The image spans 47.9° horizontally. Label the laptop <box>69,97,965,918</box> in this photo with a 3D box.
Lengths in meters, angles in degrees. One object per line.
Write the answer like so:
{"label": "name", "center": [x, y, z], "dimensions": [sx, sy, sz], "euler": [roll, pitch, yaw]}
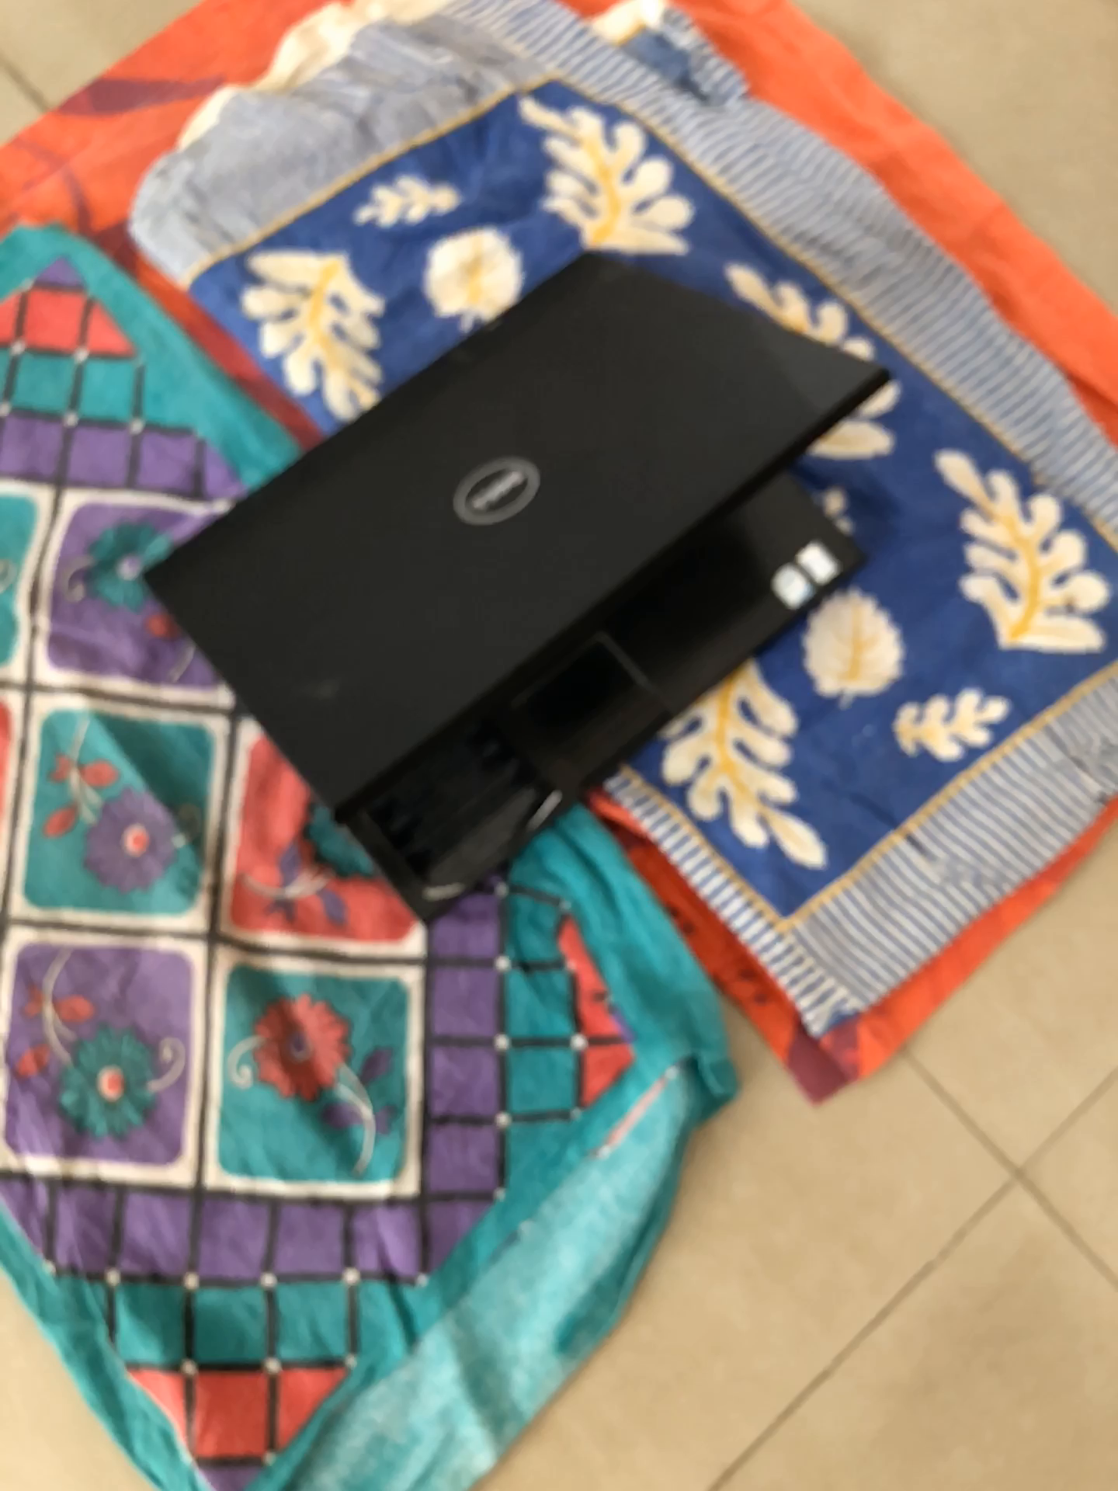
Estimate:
{"label": "laptop", "center": [-0.018, -0.108, 0.608], "dimensions": [0.299, 0.144, 0.234], "euler": [-40, 79, -10]}
